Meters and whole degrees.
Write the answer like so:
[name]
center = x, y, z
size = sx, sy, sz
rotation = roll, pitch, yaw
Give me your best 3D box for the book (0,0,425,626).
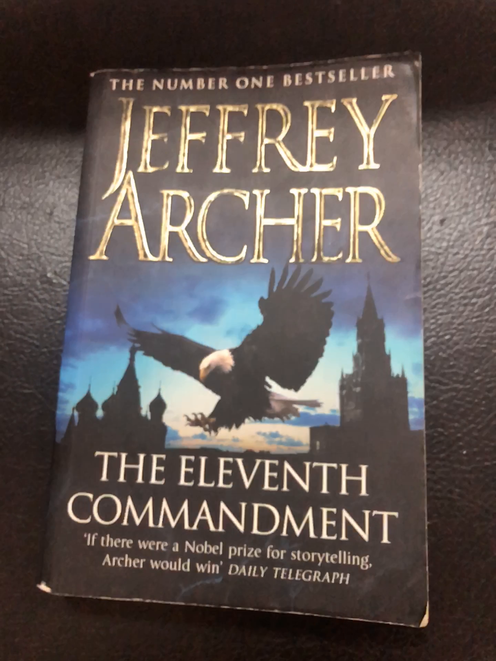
[book]
center = -0.009, -0.014, 0.199
size = 0.130, 0.040, 0.200
rotation = 2, 80, 4
